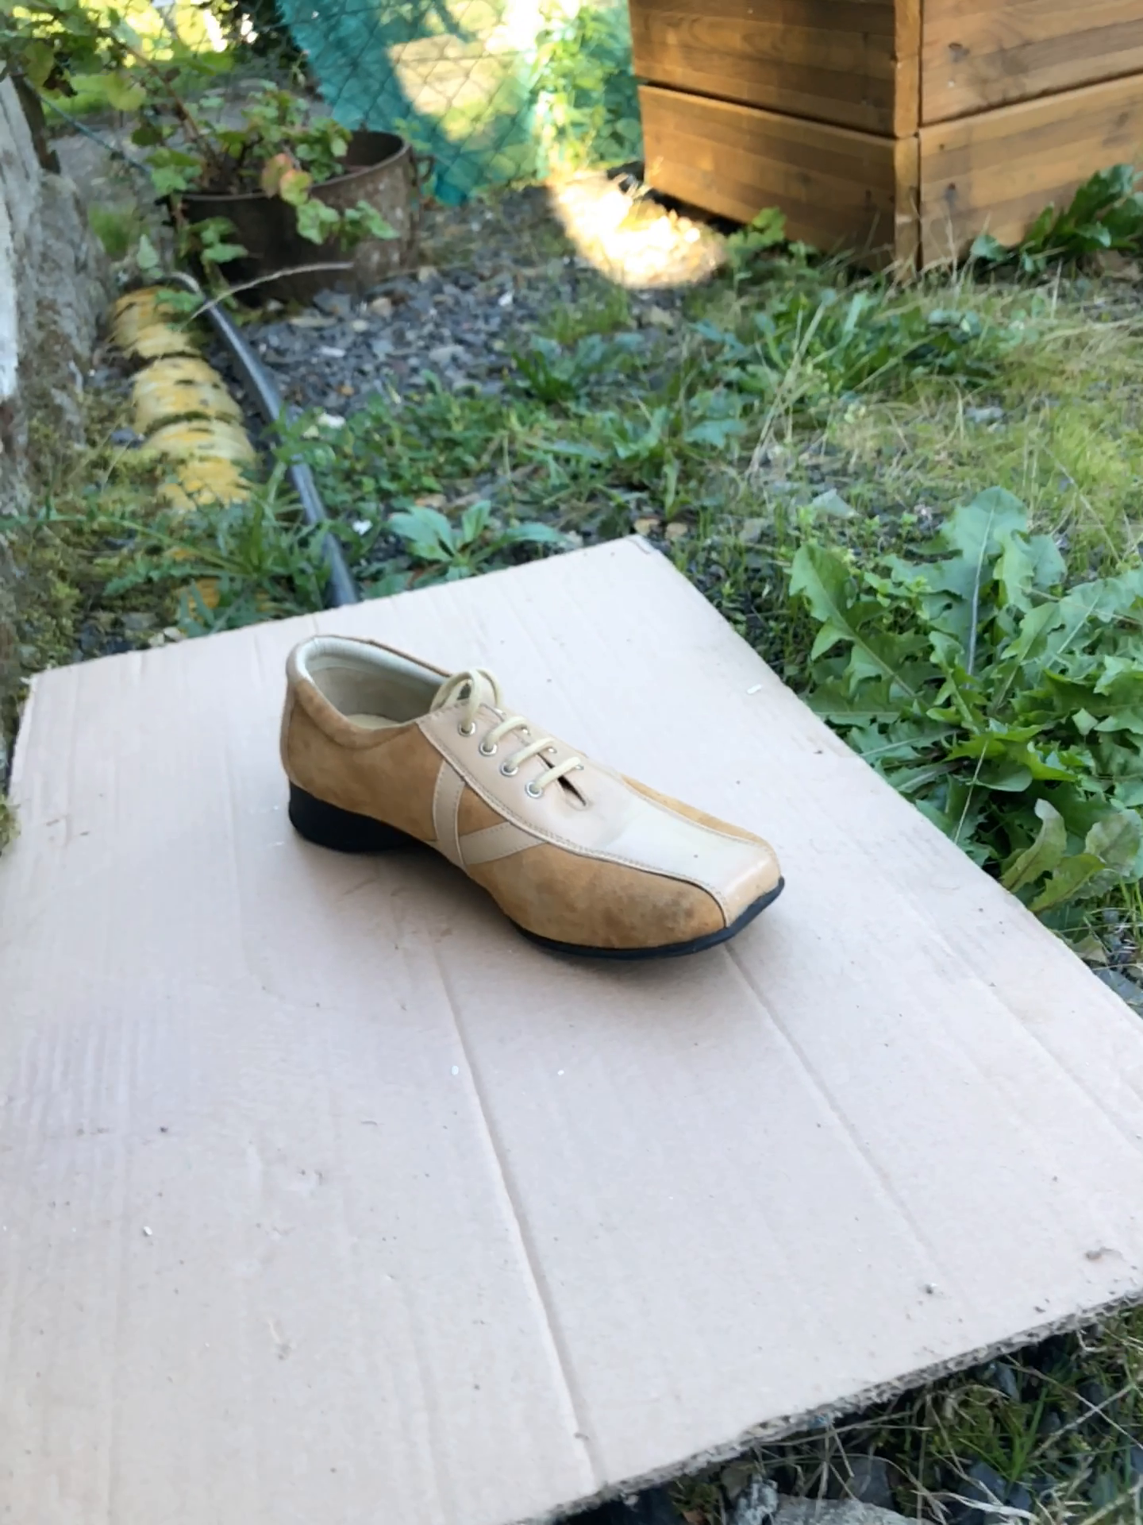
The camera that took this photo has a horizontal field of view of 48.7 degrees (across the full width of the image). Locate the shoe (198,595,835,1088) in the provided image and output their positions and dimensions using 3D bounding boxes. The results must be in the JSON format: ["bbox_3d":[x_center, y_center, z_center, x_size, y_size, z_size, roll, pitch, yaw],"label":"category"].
[{"bbox_3d":[-0.031,0.018,0.546,0.270,0.080,0.100,23,48,36],"label":"shoe"}]
